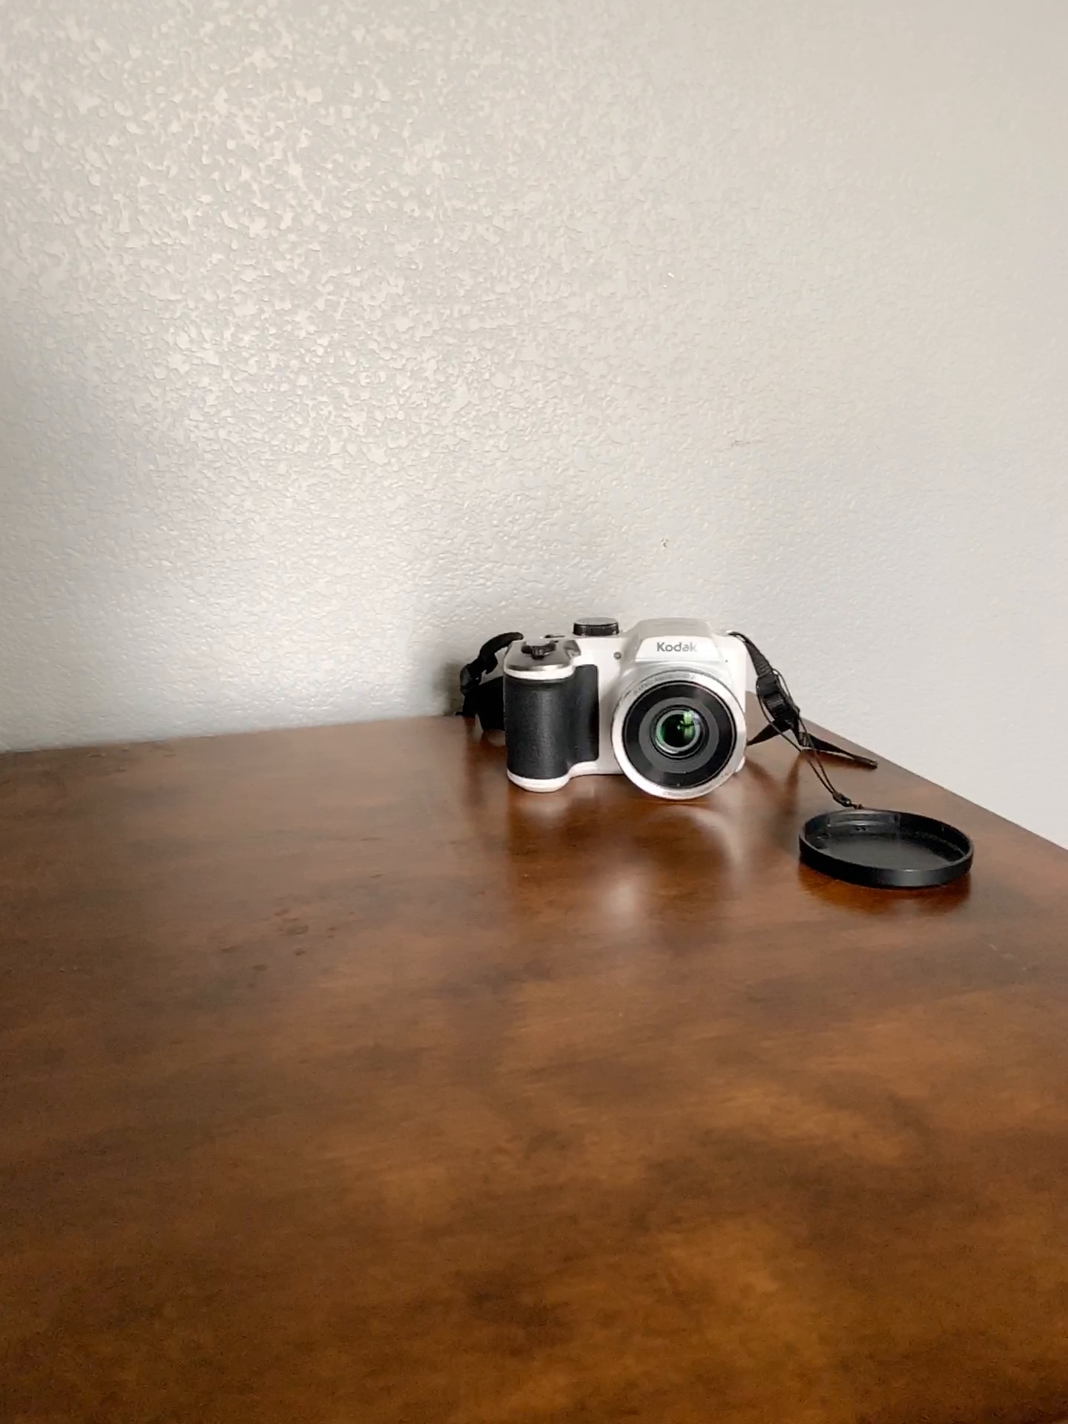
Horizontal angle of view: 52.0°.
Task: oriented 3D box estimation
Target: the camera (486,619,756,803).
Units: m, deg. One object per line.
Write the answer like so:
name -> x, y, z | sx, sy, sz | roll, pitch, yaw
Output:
camera -> 0.044, -0.004, 0.524 | 0.119, 0.071, 0.070 | 1, 13, 11
